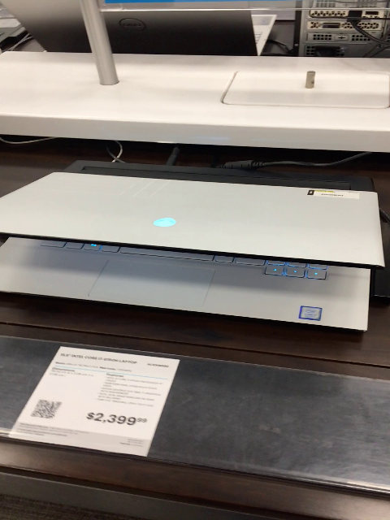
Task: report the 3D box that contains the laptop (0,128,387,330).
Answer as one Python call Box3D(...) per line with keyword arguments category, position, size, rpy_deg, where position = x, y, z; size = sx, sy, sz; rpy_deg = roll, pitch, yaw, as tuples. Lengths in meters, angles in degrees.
Box3D(category="laptop", position=(-0.010, -0.048, 0.531), size=(0.377, 0.086, 0.202), rpy_deg=(6, 44, 13))
